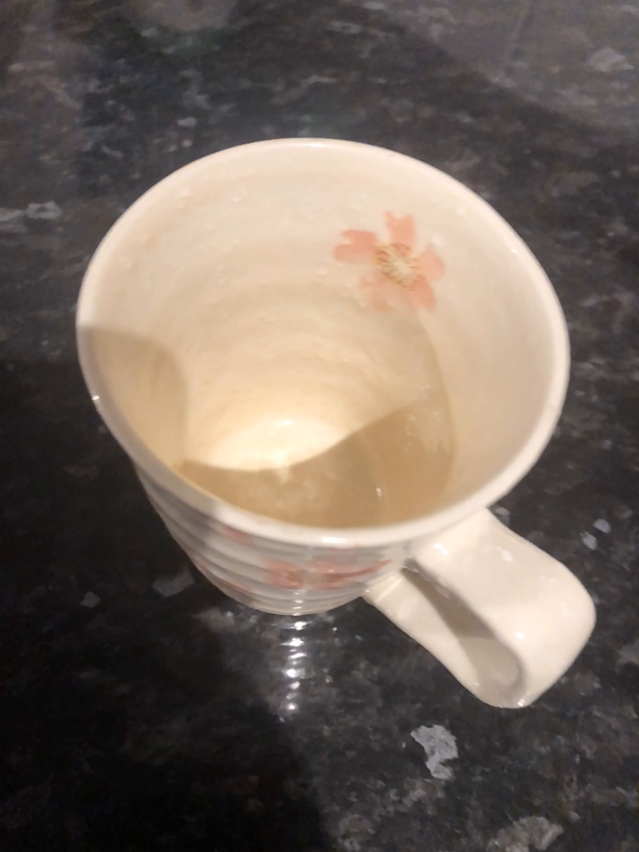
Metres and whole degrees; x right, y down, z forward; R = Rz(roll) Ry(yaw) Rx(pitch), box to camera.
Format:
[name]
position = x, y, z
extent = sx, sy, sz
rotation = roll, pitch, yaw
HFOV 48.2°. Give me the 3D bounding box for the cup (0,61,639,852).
[cup]
position = 0.011, 0.014, 0.160
extent = 0.090, 0.100, 0.130
rotation = -38, 72, -23
